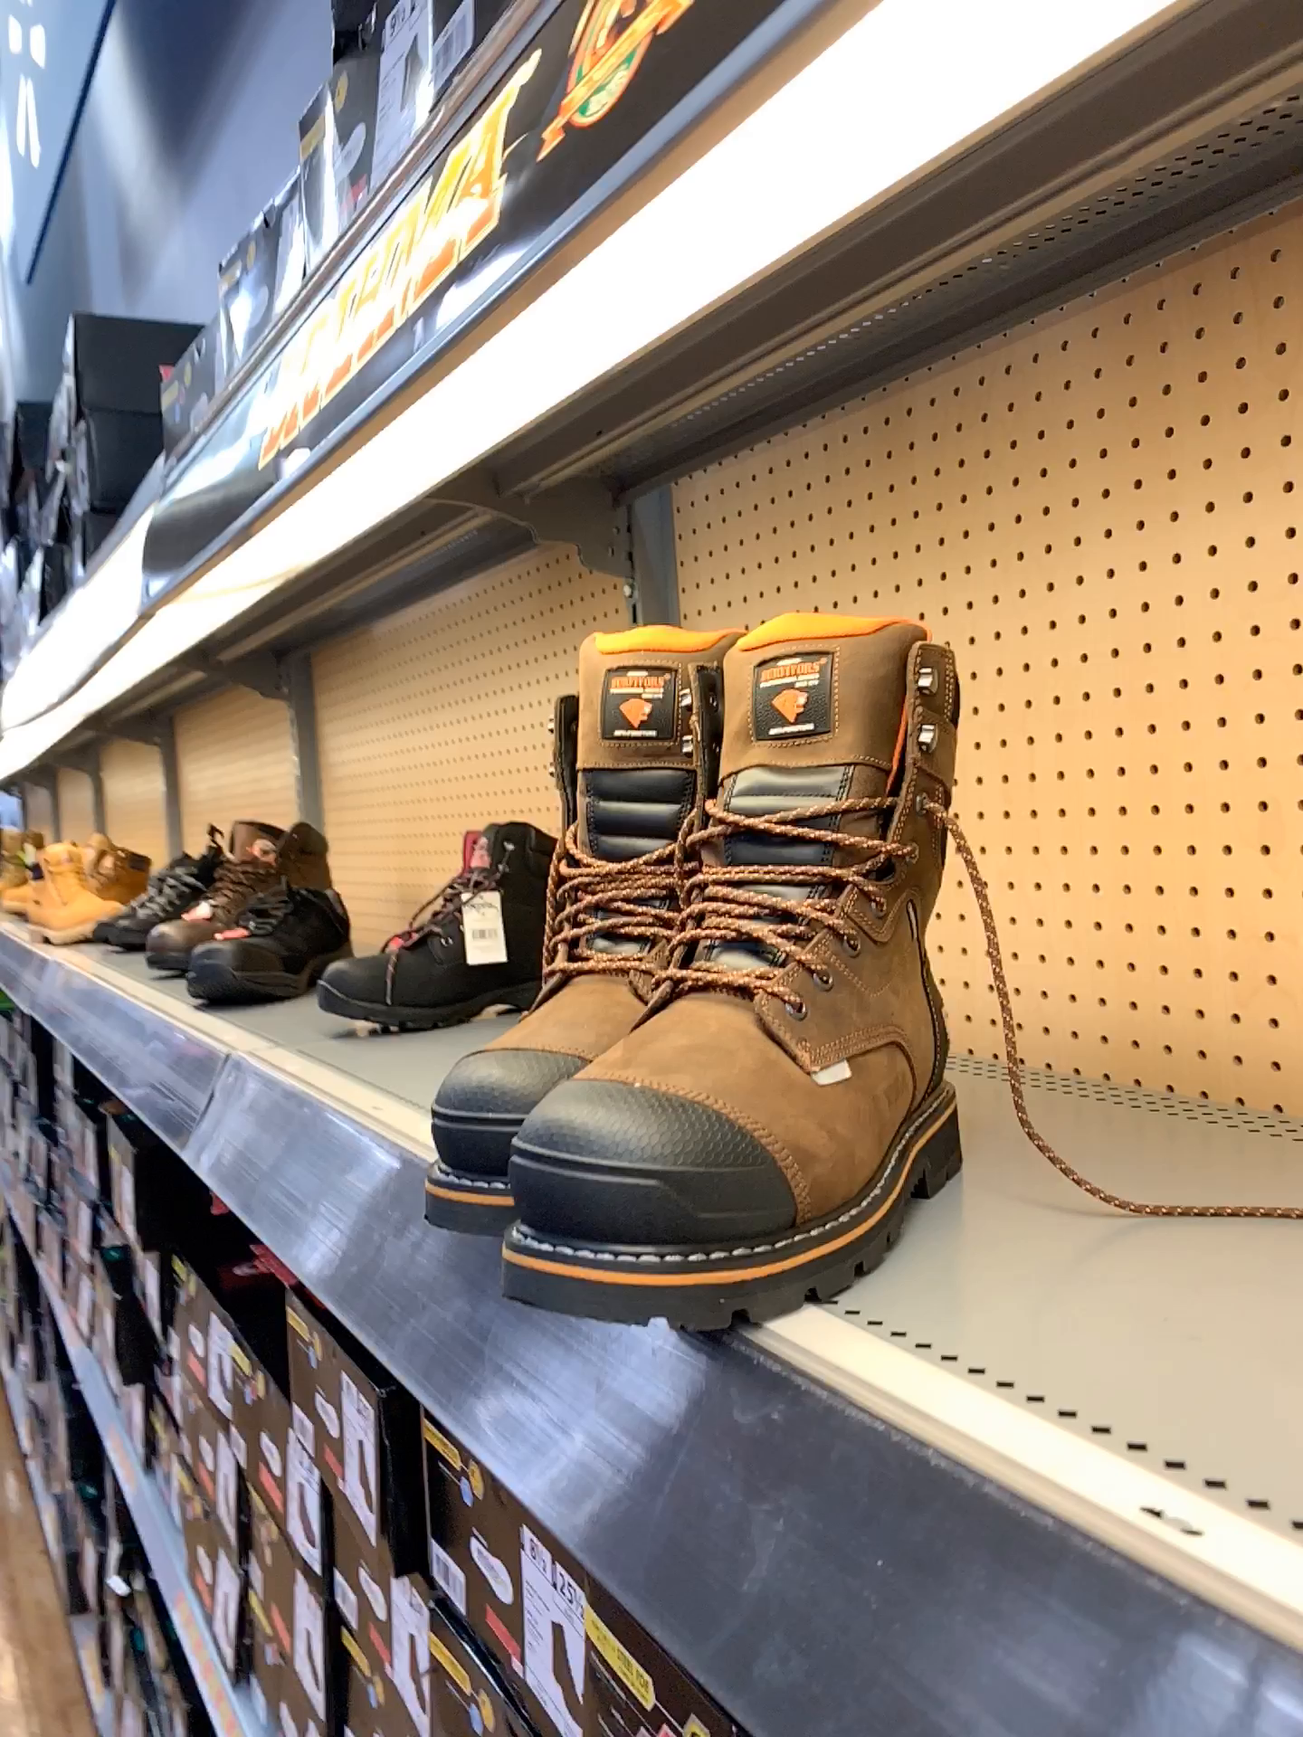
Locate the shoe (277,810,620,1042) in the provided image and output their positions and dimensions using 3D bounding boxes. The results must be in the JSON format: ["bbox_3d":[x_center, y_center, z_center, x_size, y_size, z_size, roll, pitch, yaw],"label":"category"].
[{"bbox_3d":[-0.182,0.043,1.200,0.257,0.170,0.146,-6,3,-29],"label":"shoe"}]

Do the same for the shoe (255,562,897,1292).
[{"bbox_3d":[-0.016,0.012,0.675,0.136,0.280,0.313,-2,3,37],"label":"shoe"}]

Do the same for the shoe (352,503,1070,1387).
[{"bbox_3d":[0.051,0.012,0.559,0.134,0.260,0.318,-2,3,35],"label":"shoe"}]
